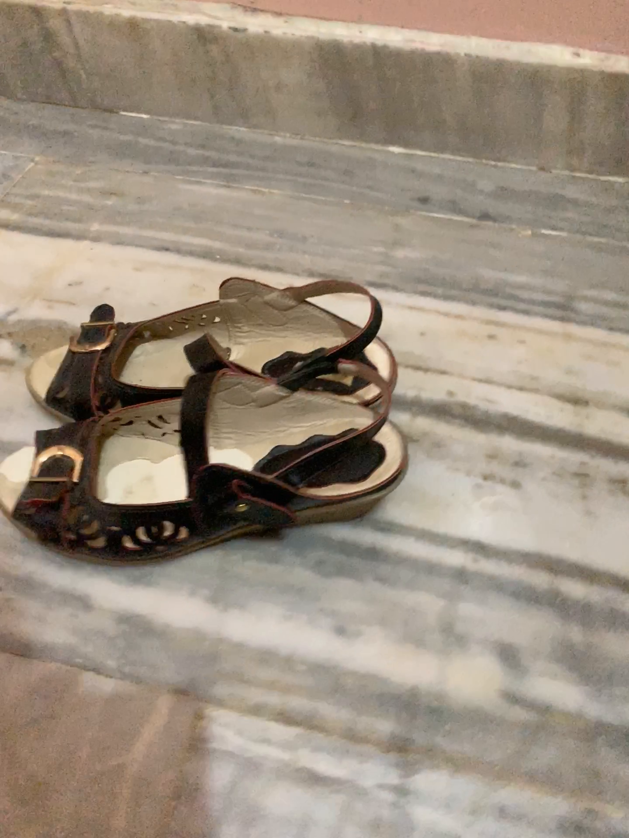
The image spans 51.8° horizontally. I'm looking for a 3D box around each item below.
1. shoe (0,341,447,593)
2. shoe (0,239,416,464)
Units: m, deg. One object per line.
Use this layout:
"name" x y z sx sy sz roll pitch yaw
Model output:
"shoe" -0.067 0.030 0.379 0.260 0.100 0.100 2 52 0
"shoe" -0.073 -0.044 0.435 0.260 0.100 0.100 2 52 0
